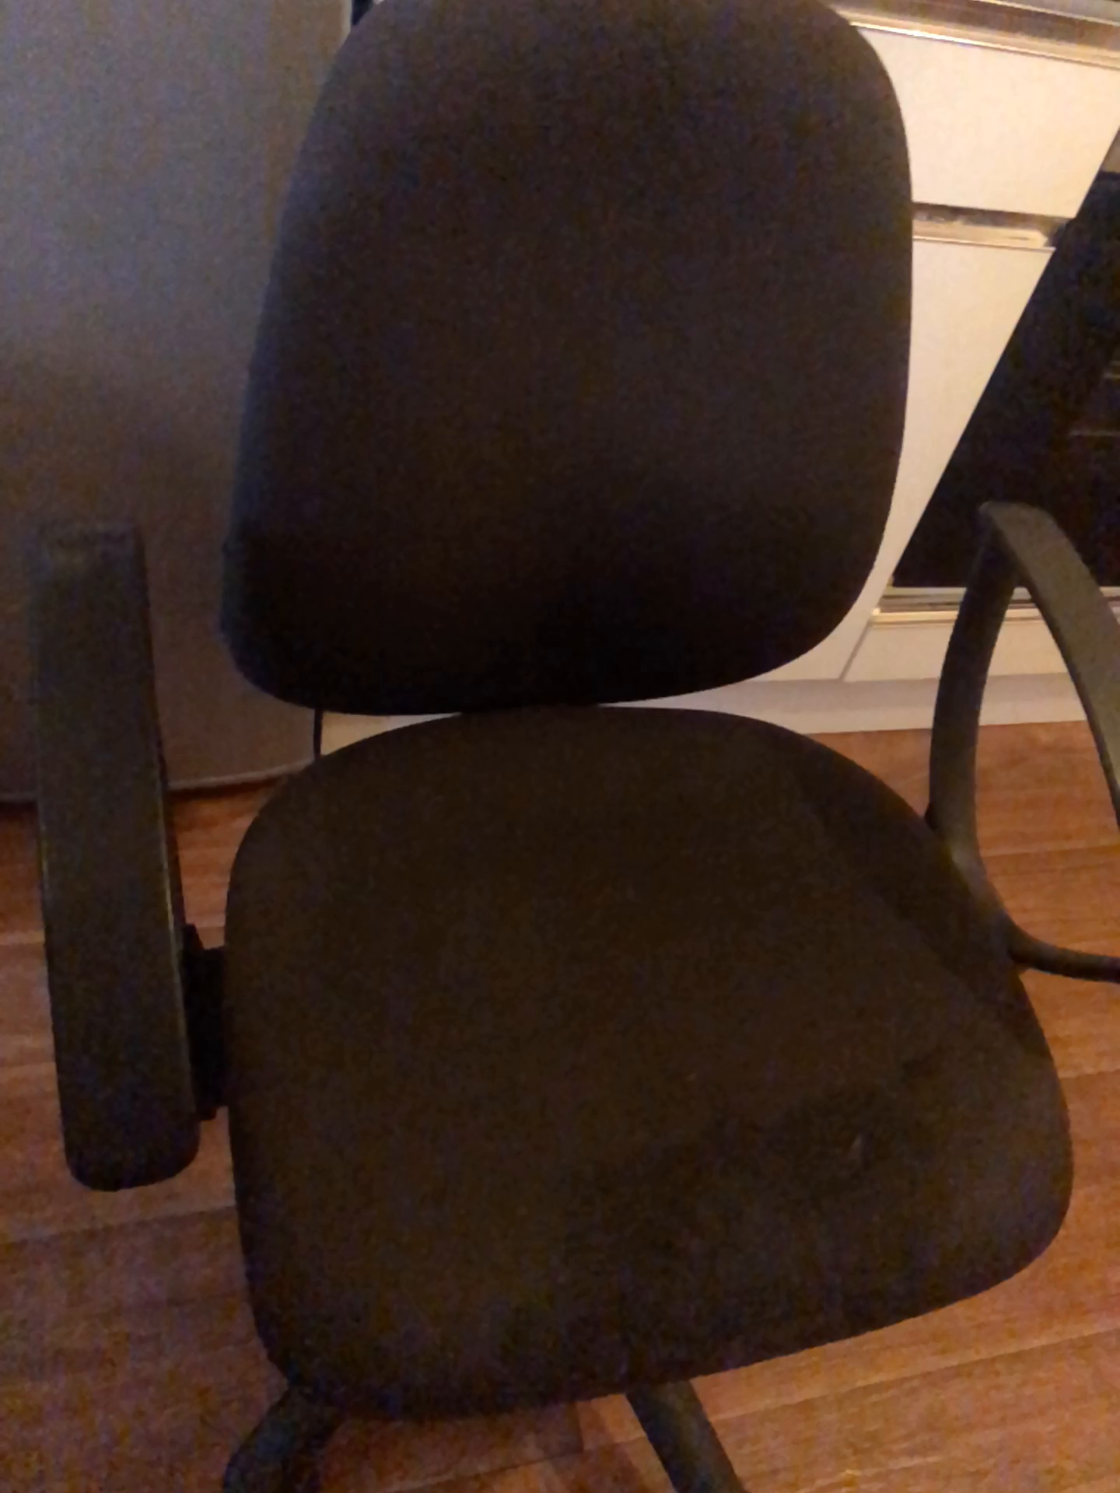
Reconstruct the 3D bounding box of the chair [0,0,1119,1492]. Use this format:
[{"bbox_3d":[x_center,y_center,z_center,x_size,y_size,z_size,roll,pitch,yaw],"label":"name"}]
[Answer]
[{"bbox_3d":[0.057,0.114,0.777,0.637,0.881,0.645,-4,50,-18],"label":"chair"}]
